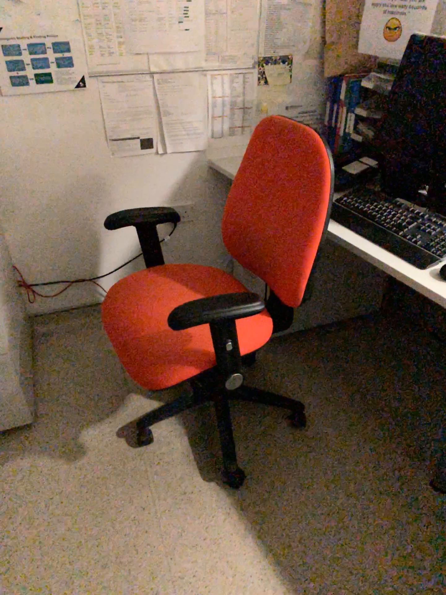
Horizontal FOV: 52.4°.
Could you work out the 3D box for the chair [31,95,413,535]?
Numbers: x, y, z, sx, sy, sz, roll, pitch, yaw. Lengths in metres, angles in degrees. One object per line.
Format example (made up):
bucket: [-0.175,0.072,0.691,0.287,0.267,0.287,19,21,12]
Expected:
chair: [-0.041,-0.007,1.335,0.652,0.921,0.675,-20,39,-26]
